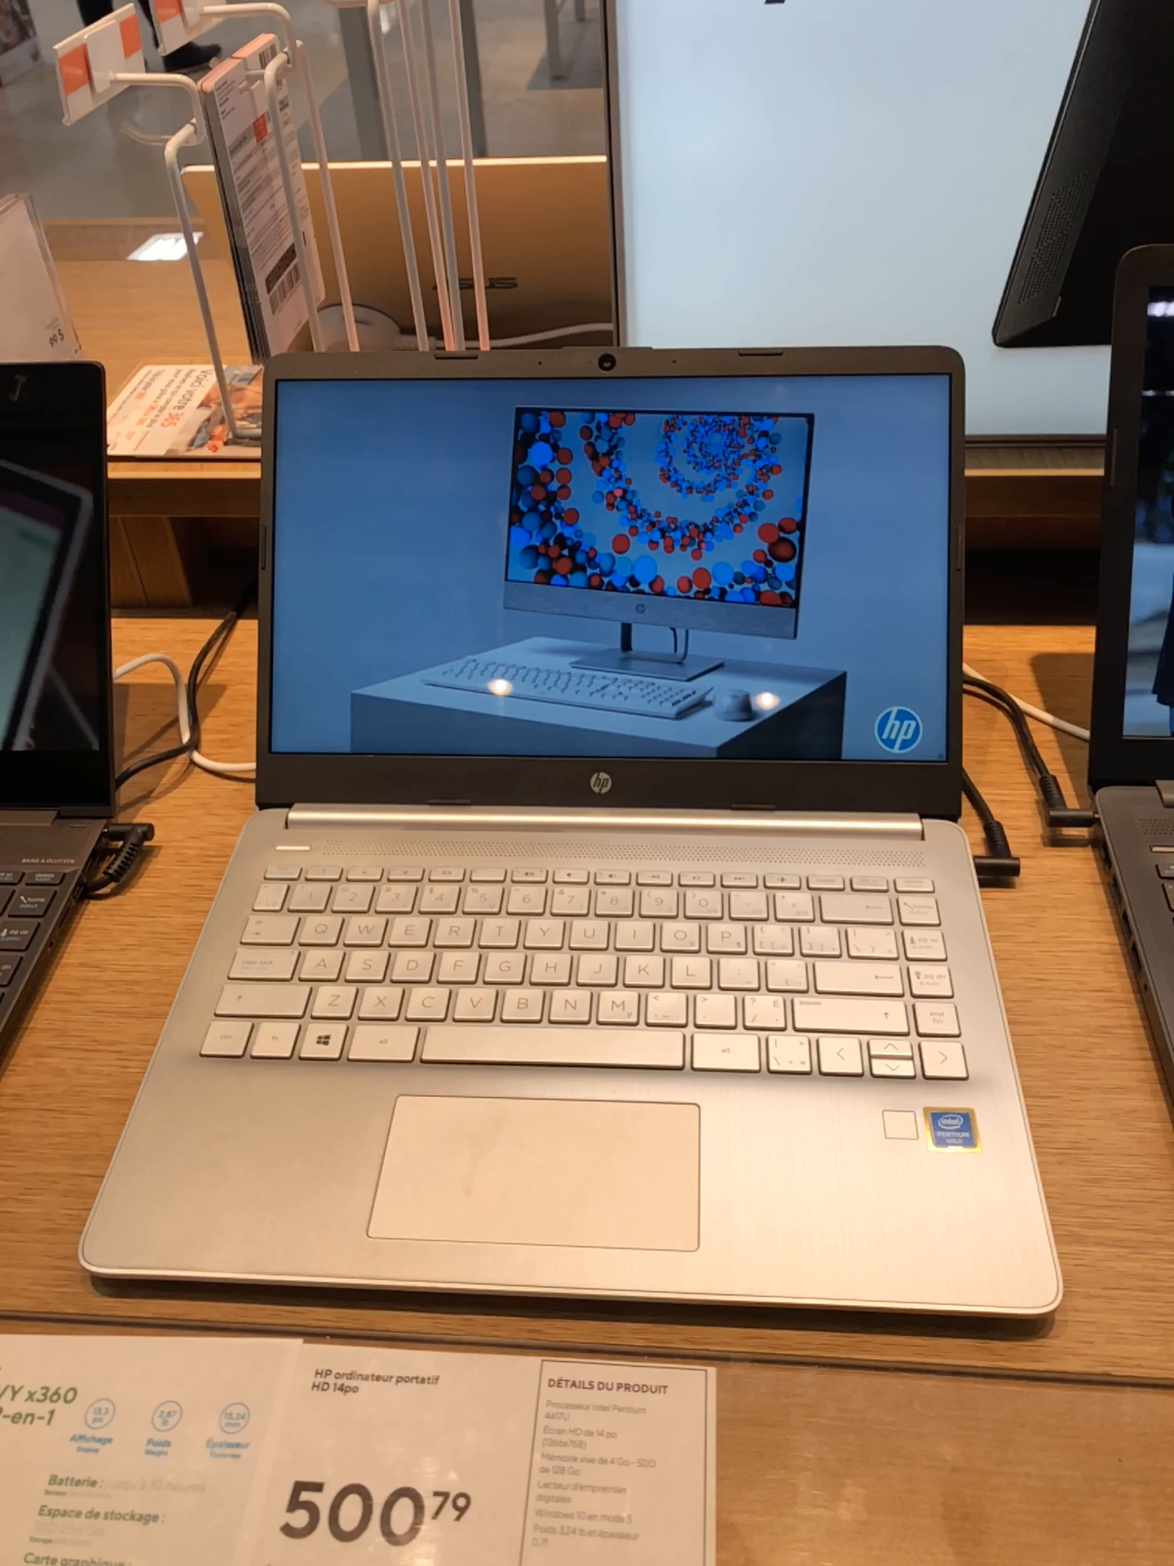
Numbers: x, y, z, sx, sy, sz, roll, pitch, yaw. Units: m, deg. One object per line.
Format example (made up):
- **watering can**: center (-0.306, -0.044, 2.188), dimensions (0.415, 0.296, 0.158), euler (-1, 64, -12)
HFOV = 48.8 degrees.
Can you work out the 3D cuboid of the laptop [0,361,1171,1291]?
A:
- **laptop**: center (0.004, -0.011, 0.511), dimensions (0.307, 0.167, 0.347), euler (0, 39, 7)
